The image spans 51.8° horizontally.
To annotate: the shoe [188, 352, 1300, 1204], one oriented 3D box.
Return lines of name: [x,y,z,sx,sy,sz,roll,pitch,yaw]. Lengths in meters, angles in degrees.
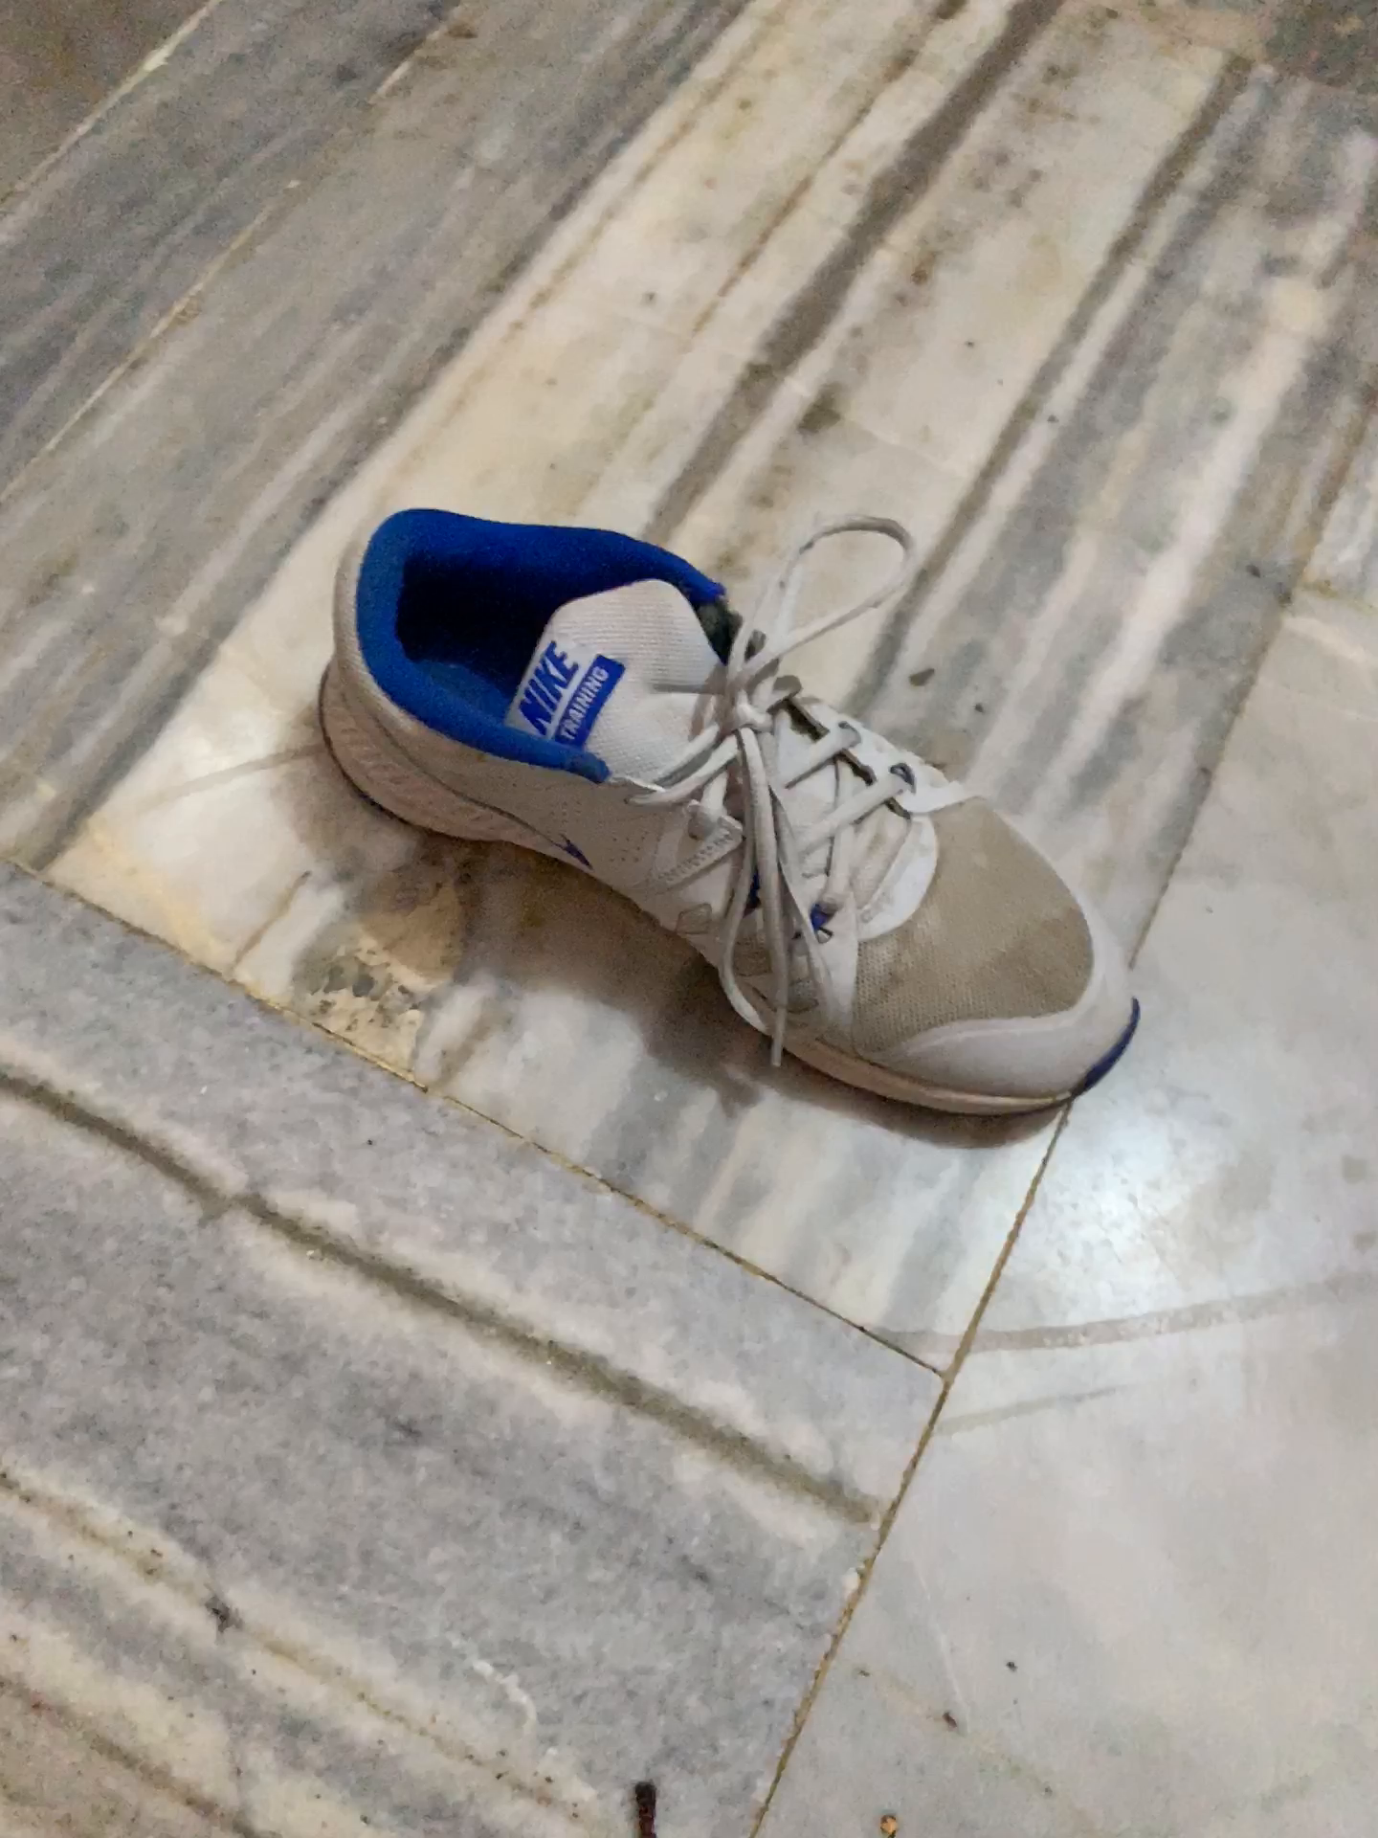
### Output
shoe: [0.012,-0.046,0.452,0.300,0.100,0.116,28,68,11]
